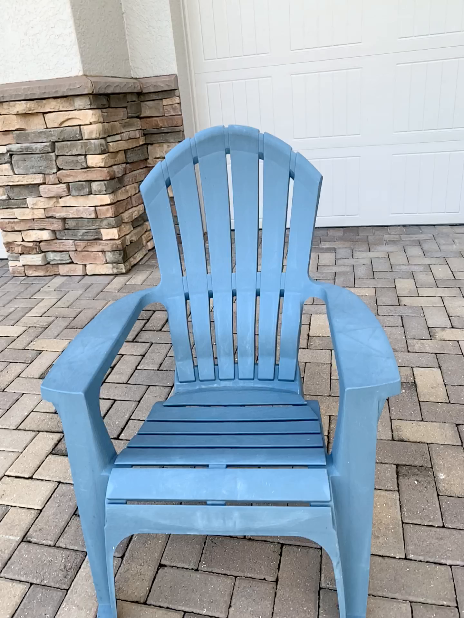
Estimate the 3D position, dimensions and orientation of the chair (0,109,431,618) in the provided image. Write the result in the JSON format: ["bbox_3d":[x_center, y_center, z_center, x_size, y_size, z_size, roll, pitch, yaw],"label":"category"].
[{"bbox_3d":[-0.018,0.080,1.168,0.681,0.987,0.800,-2,23,7],"label":"chair"}]
